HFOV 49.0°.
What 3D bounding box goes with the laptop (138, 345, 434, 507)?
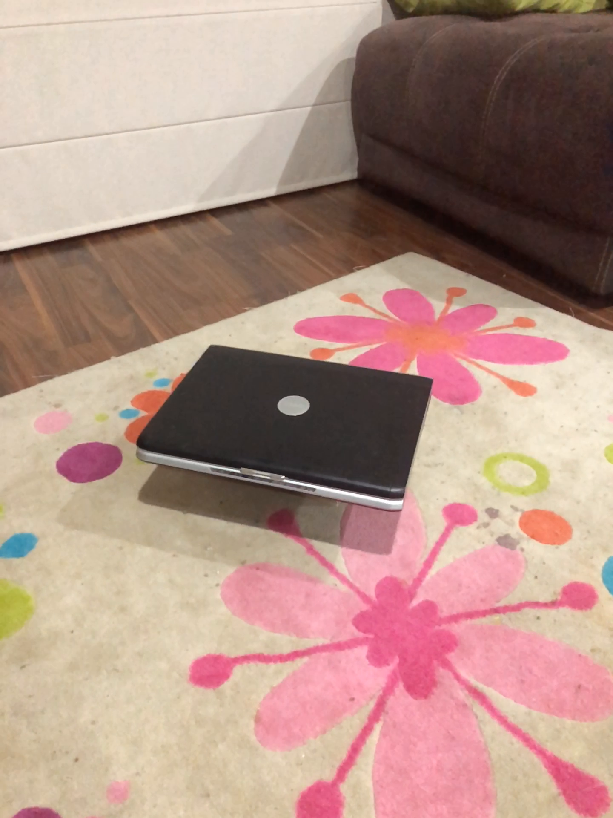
[{"bbox_3d":[-0.021,0.008,0.922,0.353,0.015,0.233,9,42,17],"label":"laptop"}]
